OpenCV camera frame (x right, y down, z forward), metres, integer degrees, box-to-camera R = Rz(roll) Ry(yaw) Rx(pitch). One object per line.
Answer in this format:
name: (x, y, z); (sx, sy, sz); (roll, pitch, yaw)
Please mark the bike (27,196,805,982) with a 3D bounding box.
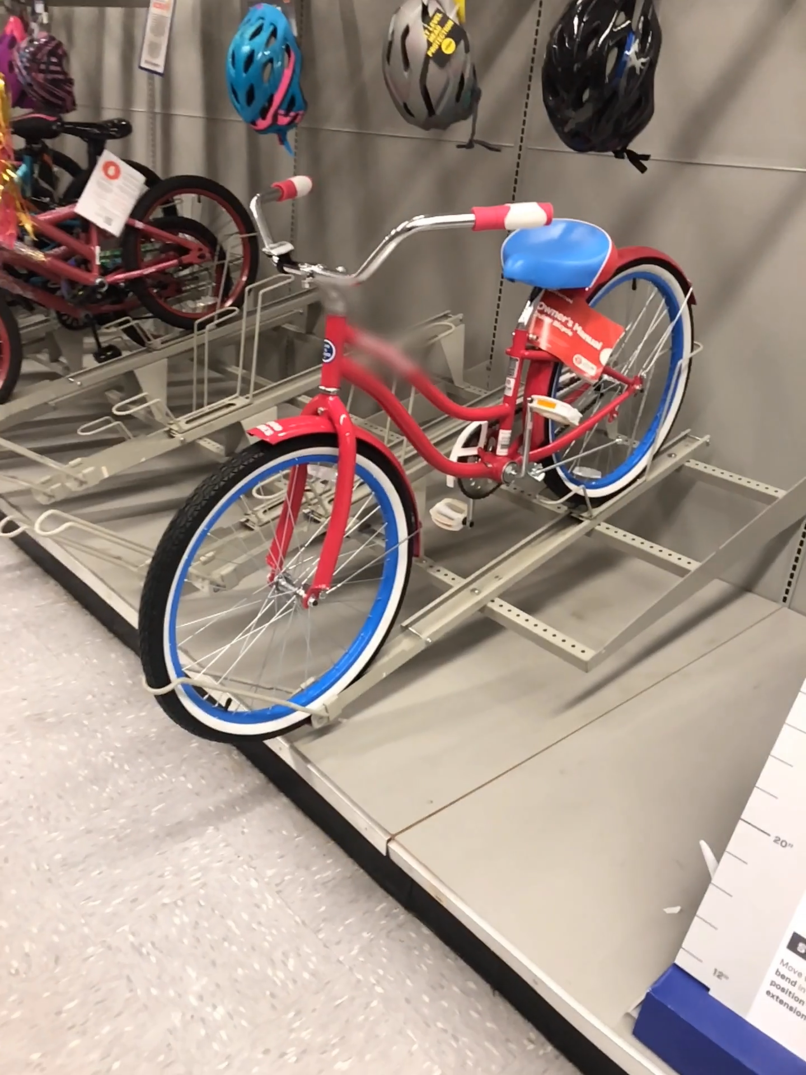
bike: (0.115, -0.120, 1.953); (1.609, 0.676, 0.812); (-31, 40, -32)
